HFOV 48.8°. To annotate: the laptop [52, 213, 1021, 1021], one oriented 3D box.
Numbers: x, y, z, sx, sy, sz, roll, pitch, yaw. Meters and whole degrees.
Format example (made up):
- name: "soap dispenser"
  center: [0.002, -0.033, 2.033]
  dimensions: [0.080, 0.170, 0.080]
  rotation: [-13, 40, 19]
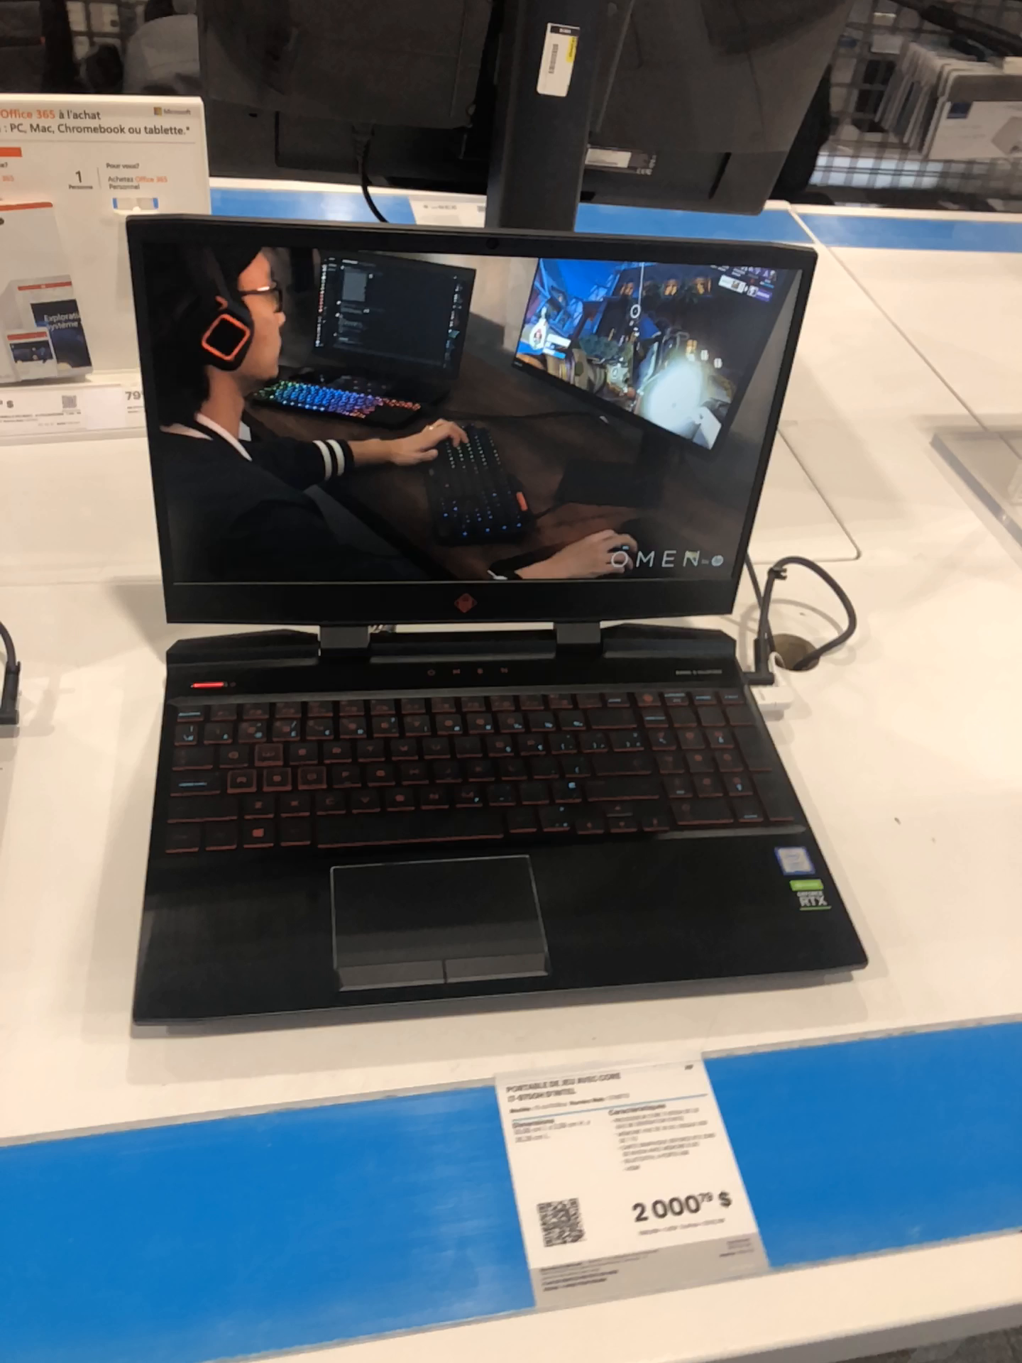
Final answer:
- name: "laptop"
  center: [-0.003, -0.045, 0.569]
  dimensions: [0.355, 0.239, 0.294]
  rotation: [-2, 45, -11]
